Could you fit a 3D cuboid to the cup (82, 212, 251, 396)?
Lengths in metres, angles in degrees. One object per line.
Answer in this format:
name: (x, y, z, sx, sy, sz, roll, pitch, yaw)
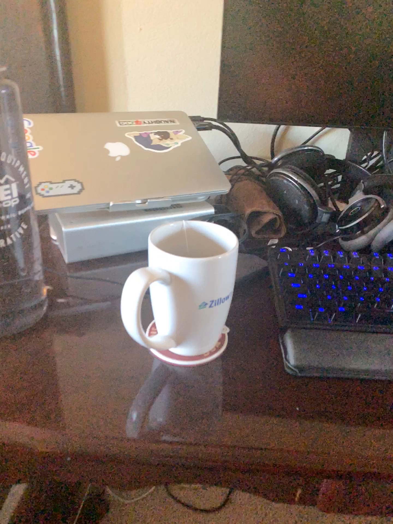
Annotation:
cup: (-0.023, 0.030, 0.385, 0.100, 0.099, 0.131, 16, 32, 22)
